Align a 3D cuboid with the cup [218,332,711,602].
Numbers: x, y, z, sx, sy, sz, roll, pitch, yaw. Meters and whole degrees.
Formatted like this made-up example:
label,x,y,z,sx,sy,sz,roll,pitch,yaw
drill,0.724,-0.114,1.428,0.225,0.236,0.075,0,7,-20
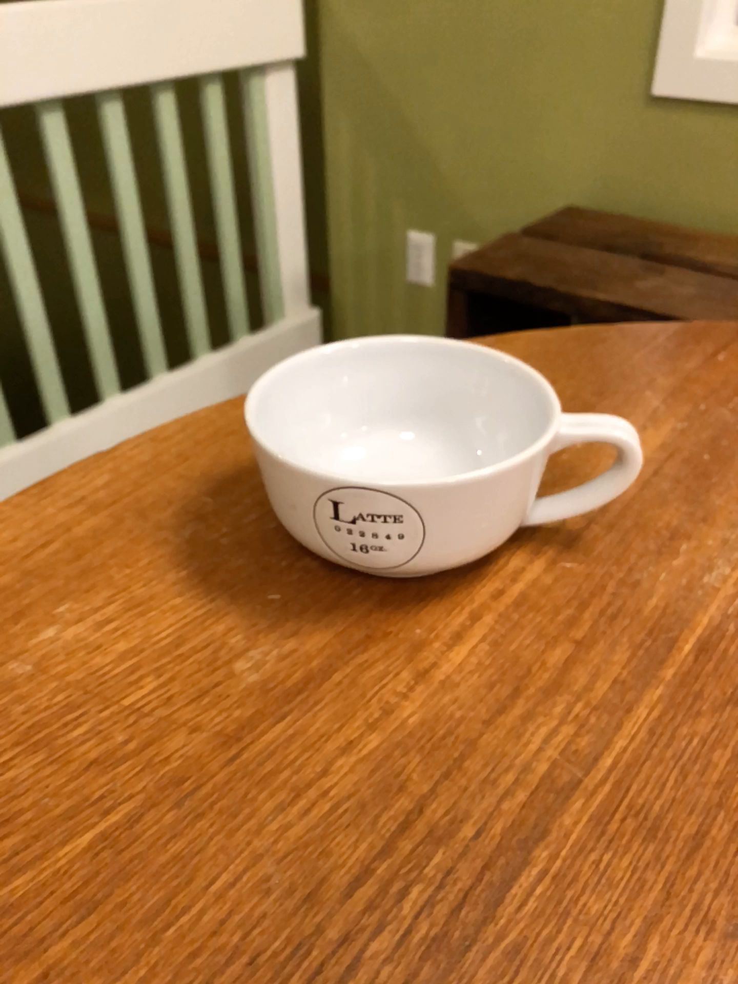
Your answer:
label,x,y,z,sx,sy,sz,roll,pitch,yaw
cup,0.036,-0.018,0.372,0.179,0.055,0.139,0,34,1
